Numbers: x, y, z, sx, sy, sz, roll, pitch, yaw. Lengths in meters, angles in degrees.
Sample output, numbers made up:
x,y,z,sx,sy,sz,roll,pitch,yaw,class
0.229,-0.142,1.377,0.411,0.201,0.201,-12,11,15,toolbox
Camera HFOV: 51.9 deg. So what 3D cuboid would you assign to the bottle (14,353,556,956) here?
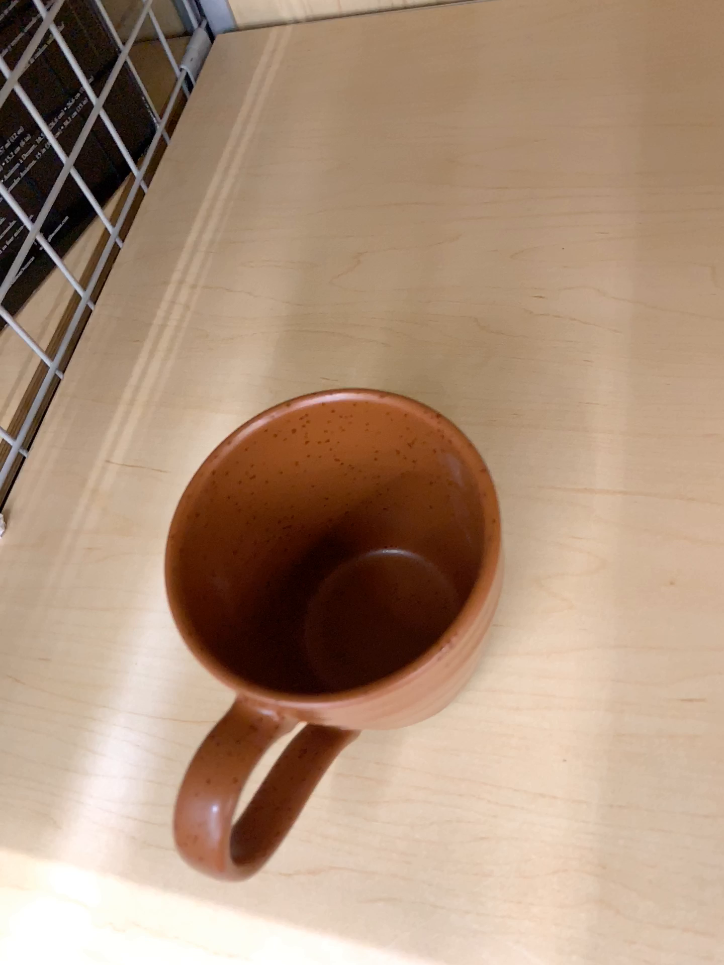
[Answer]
x,y,z,sx,sy,sz,roll,pitch,yaw,class
-0.009,0.050,0.240,0.100,0.090,0.140,16,66,23,bottle
